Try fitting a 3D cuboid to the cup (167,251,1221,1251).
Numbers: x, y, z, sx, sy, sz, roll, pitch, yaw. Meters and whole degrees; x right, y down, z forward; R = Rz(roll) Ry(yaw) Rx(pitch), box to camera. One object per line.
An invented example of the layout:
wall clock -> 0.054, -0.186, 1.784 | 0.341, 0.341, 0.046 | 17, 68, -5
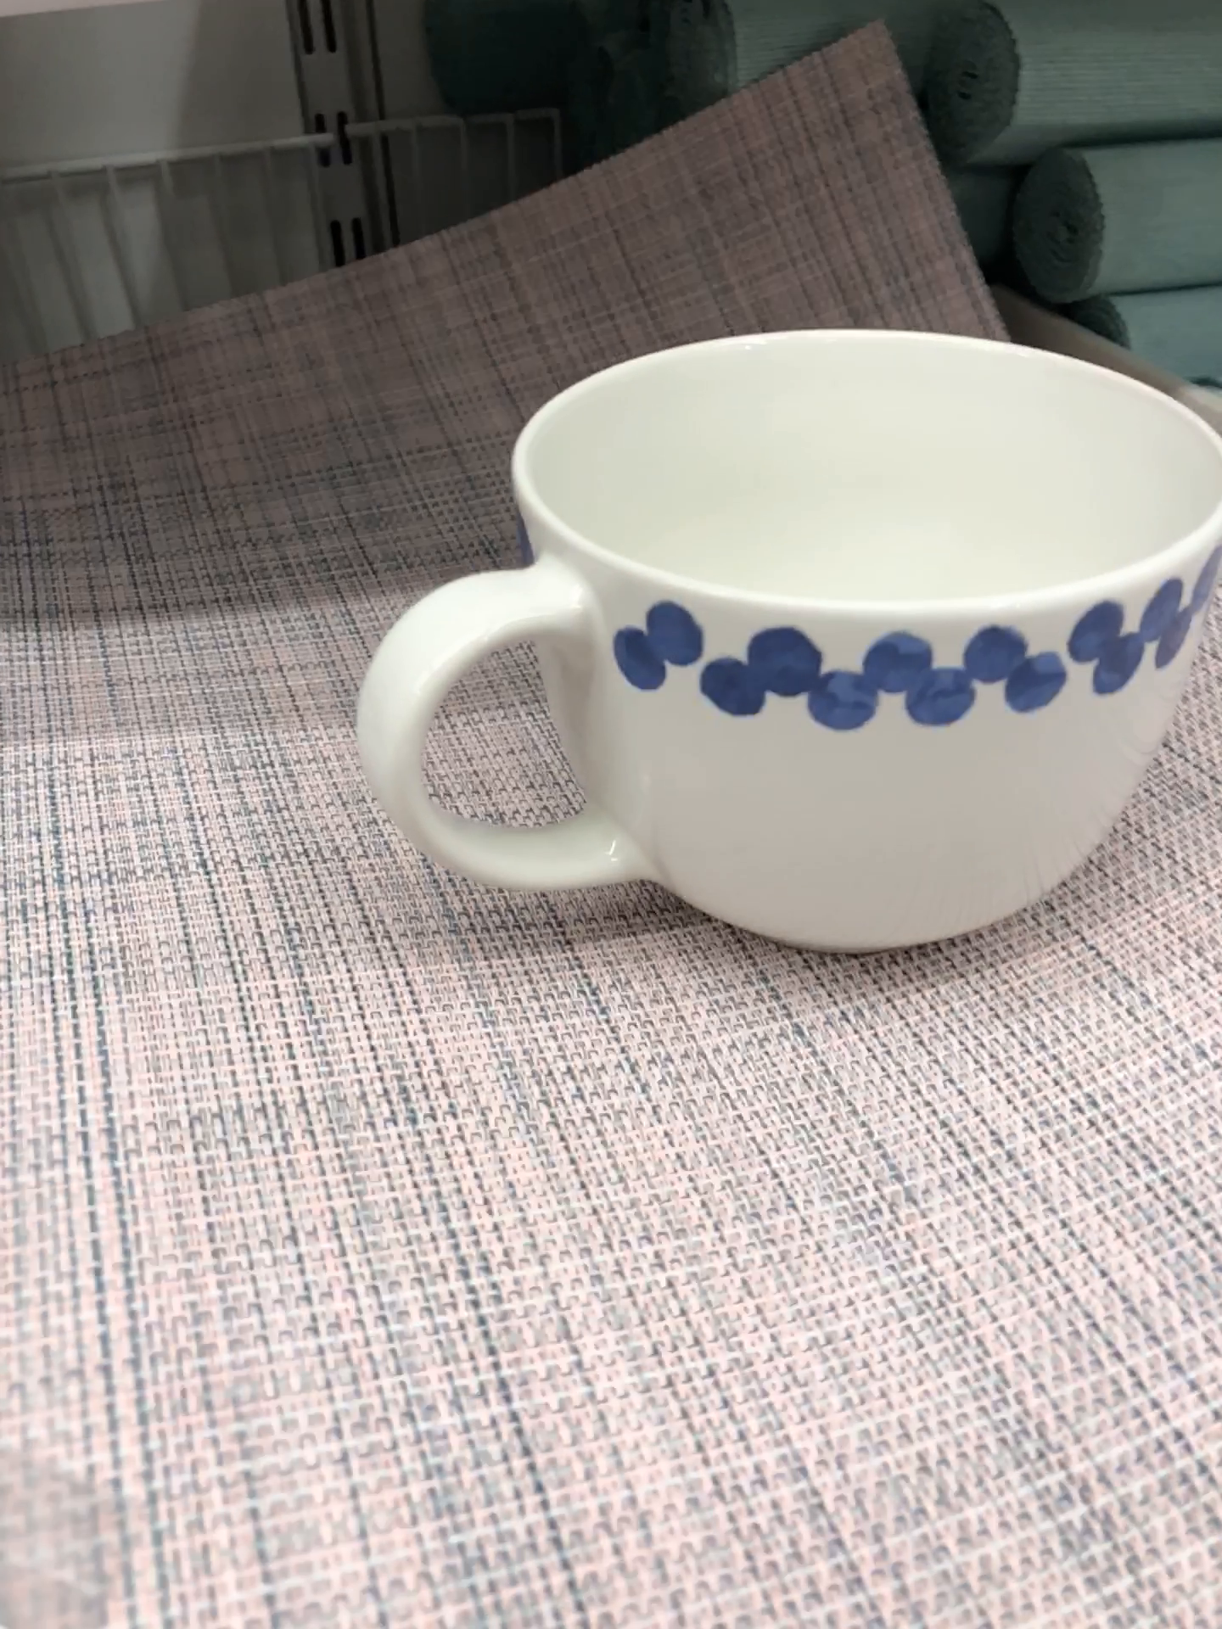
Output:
cup -> 0.030, -0.027, 0.199 | 0.150, 0.060, 0.110 | -19, 39, -21
